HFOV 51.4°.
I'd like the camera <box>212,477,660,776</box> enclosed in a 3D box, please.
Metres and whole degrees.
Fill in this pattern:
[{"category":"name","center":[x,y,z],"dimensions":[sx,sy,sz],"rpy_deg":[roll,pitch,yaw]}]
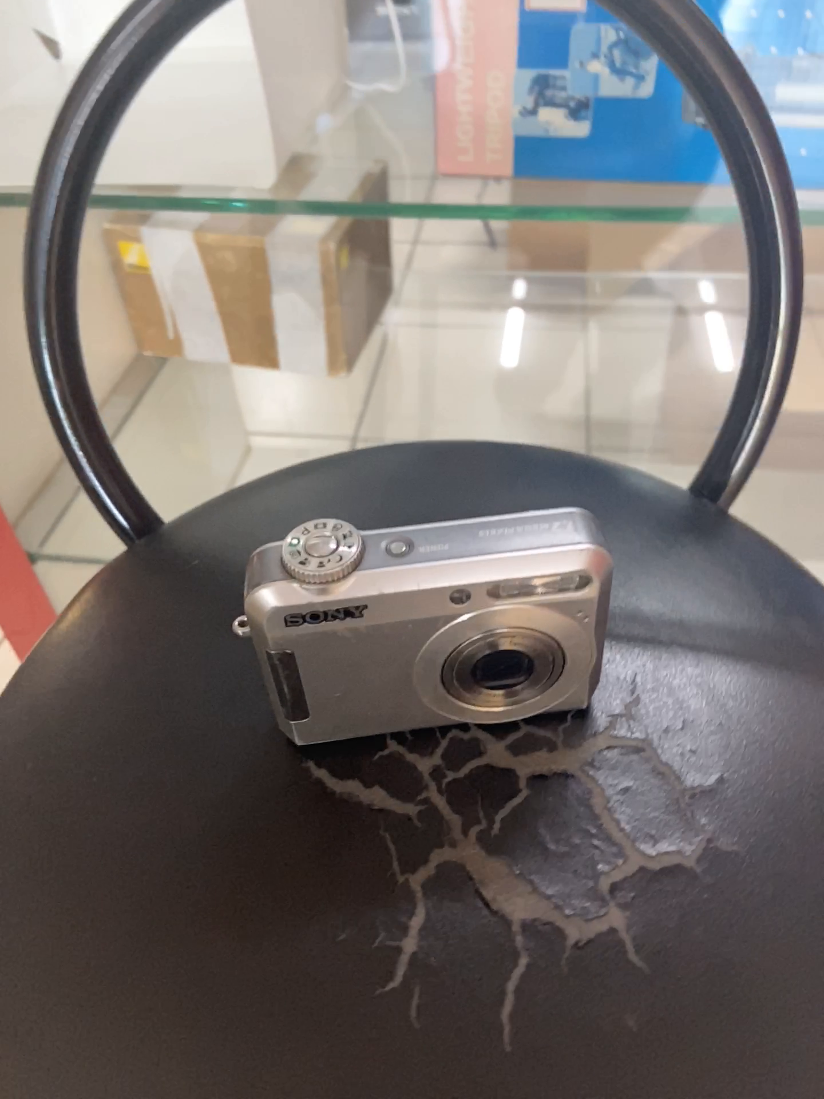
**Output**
[{"category":"camera","center":[0.005,0.020,0.220],"dimensions":[0.100,0.050,0.040],"rpy_deg":[-8,42,-3]}]
